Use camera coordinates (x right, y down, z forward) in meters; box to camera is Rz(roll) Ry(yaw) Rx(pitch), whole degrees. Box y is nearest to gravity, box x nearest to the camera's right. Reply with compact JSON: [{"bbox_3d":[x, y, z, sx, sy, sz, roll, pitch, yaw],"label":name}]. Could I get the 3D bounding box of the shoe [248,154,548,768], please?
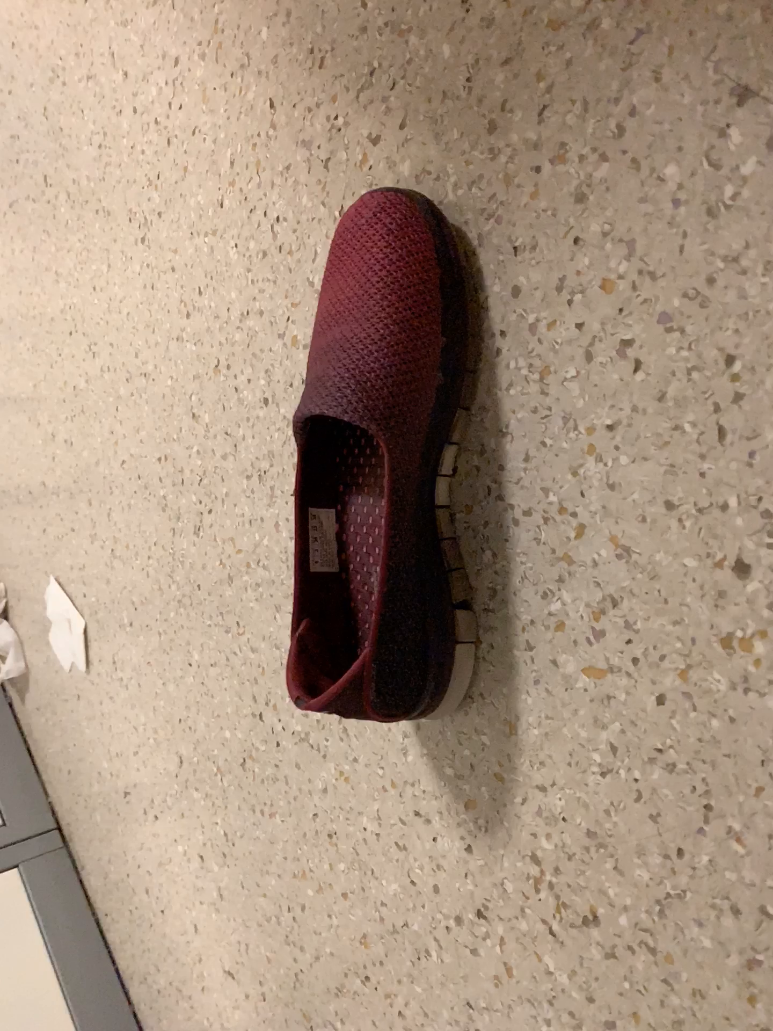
[{"bbox_3d":[0.007,-0.023,0.359,0.092,0.091,0.229,5,99,50],"label":"shoe"}]
